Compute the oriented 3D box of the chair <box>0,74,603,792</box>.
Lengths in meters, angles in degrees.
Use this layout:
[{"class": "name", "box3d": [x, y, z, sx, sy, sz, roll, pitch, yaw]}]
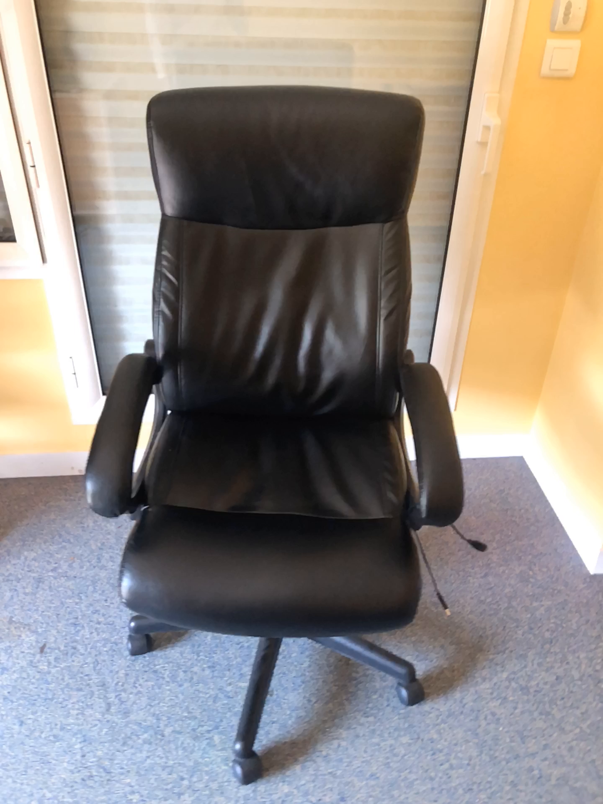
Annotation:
[{"class": "chair", "box3d": [-0.049, 0.054, 1.259, 0.660, 1.113, 0.754, 0, 34, -3]}]
